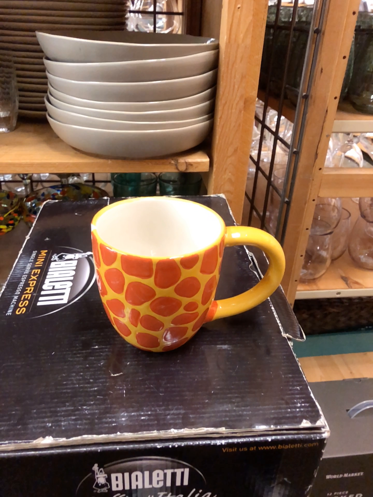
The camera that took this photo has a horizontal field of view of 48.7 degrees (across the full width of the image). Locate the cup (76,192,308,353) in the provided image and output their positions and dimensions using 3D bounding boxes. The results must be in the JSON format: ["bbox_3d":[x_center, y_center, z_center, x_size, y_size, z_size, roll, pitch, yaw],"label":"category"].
[{"bbox_3d":[-0.001,0.012,0.296,0.134,0.067,0.103,1,30,-6],"label":"cup"}]
